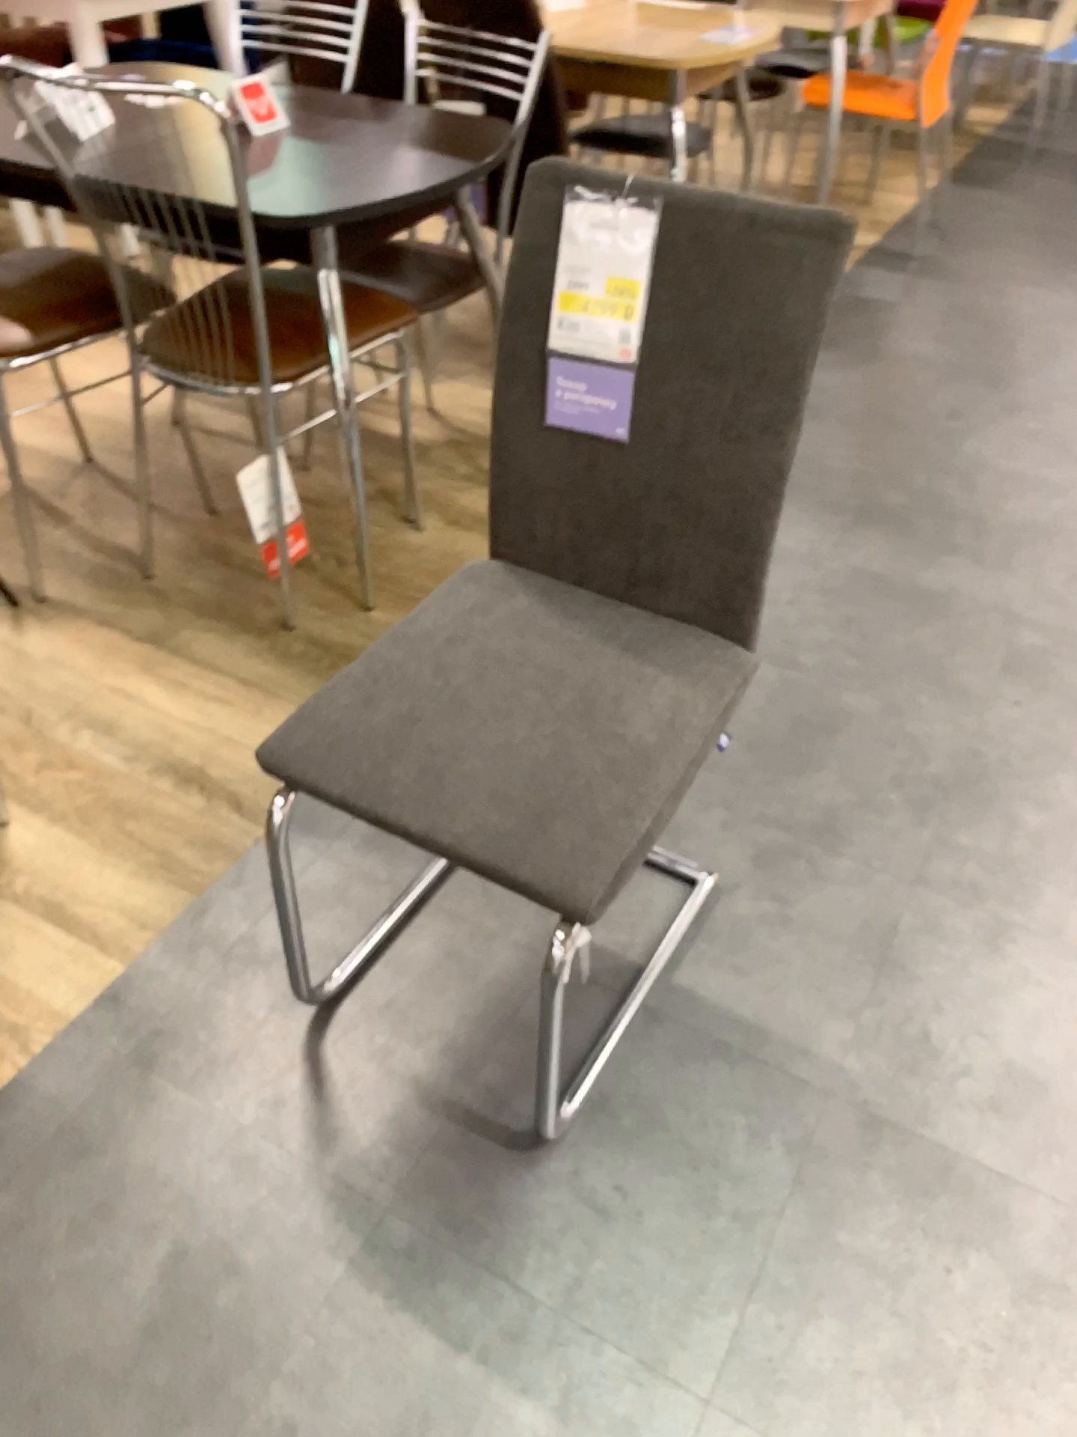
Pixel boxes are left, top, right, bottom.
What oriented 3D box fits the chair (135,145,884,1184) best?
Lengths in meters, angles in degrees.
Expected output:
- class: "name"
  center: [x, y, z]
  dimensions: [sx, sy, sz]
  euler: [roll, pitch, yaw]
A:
- class: "chair"
  center: [-0.004, -0.037, 1.283]
  dimensions: [0.436, 0.974, 0.542]
  euler: [21, 44, 21]
